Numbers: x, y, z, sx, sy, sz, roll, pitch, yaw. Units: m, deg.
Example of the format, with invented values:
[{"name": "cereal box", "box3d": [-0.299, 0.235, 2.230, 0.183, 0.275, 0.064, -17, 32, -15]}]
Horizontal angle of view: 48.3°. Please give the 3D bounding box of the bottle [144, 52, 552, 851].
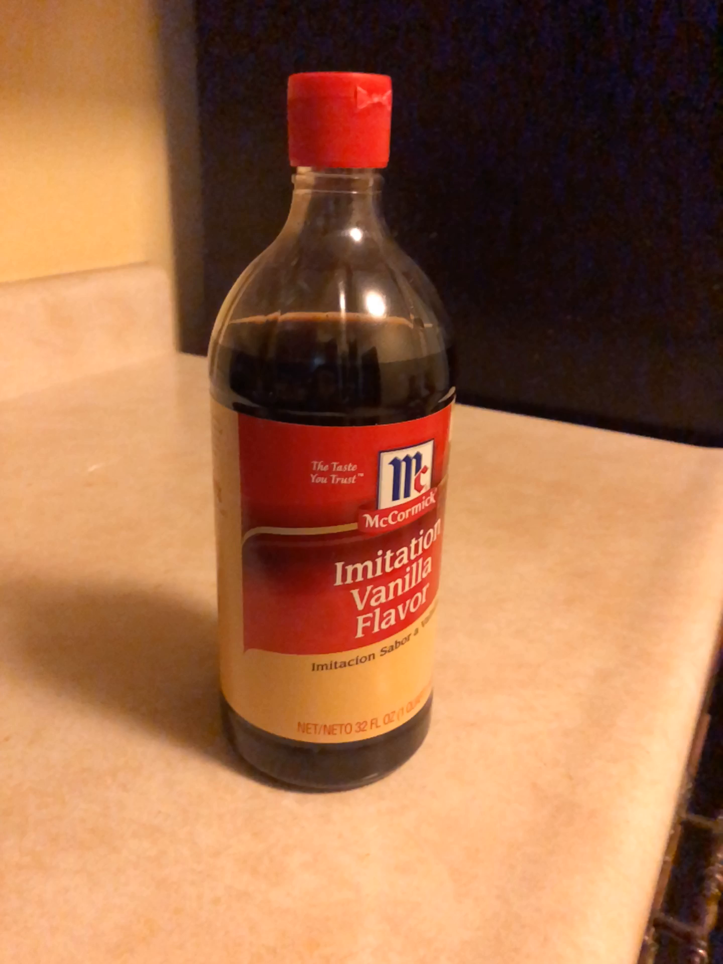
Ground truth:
[{"name": "bottle", "box3d": [-0.007, -0.009, 0.282, 0.090, 0.239, 0.080, -16, 28, -37]}]
